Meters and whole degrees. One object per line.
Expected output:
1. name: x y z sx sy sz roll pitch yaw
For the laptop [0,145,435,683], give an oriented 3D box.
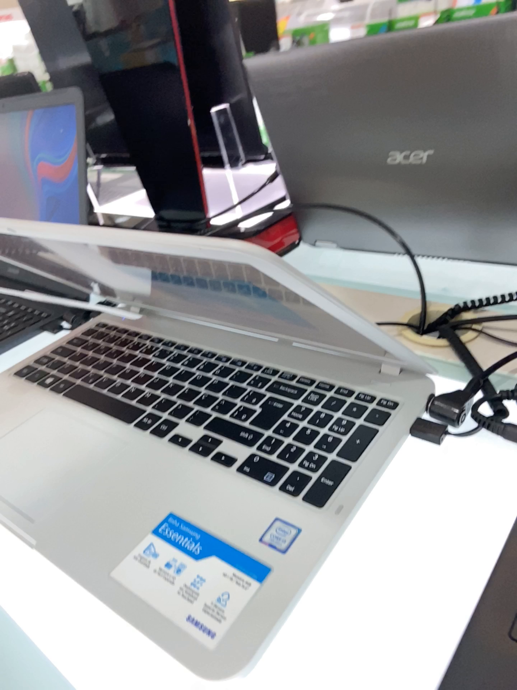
1. laptop: -0.105 -0.016 0.372 0.367 0.162 0.233 13 38 37
